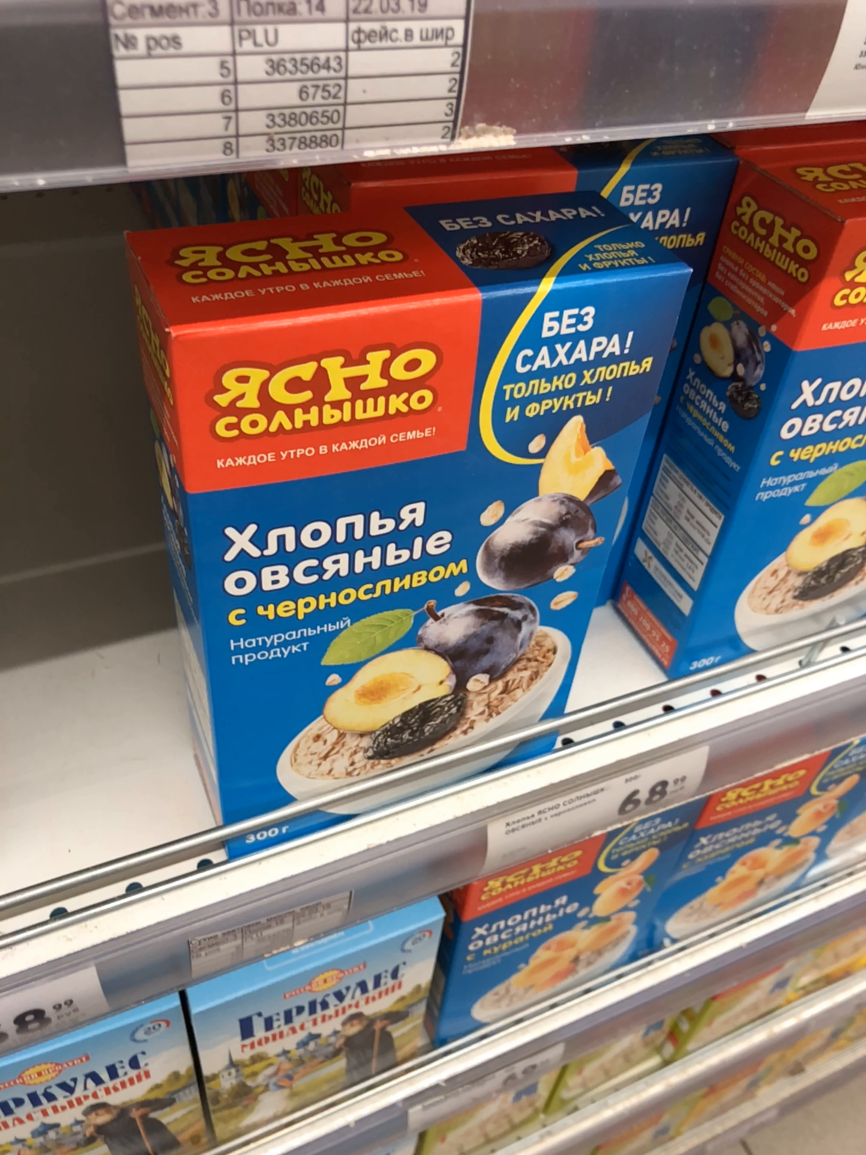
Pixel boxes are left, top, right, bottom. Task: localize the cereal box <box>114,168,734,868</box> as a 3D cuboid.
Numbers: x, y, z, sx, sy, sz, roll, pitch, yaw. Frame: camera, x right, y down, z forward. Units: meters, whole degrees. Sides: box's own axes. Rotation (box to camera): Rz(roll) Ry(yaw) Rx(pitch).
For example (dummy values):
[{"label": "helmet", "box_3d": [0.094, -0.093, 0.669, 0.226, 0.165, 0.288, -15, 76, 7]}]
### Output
[{"label": "cereal box", "box_3d": [-0.008, -0.007, 0.302, 0.140, 0.209, 0.050, -14, 47, -20]}]
